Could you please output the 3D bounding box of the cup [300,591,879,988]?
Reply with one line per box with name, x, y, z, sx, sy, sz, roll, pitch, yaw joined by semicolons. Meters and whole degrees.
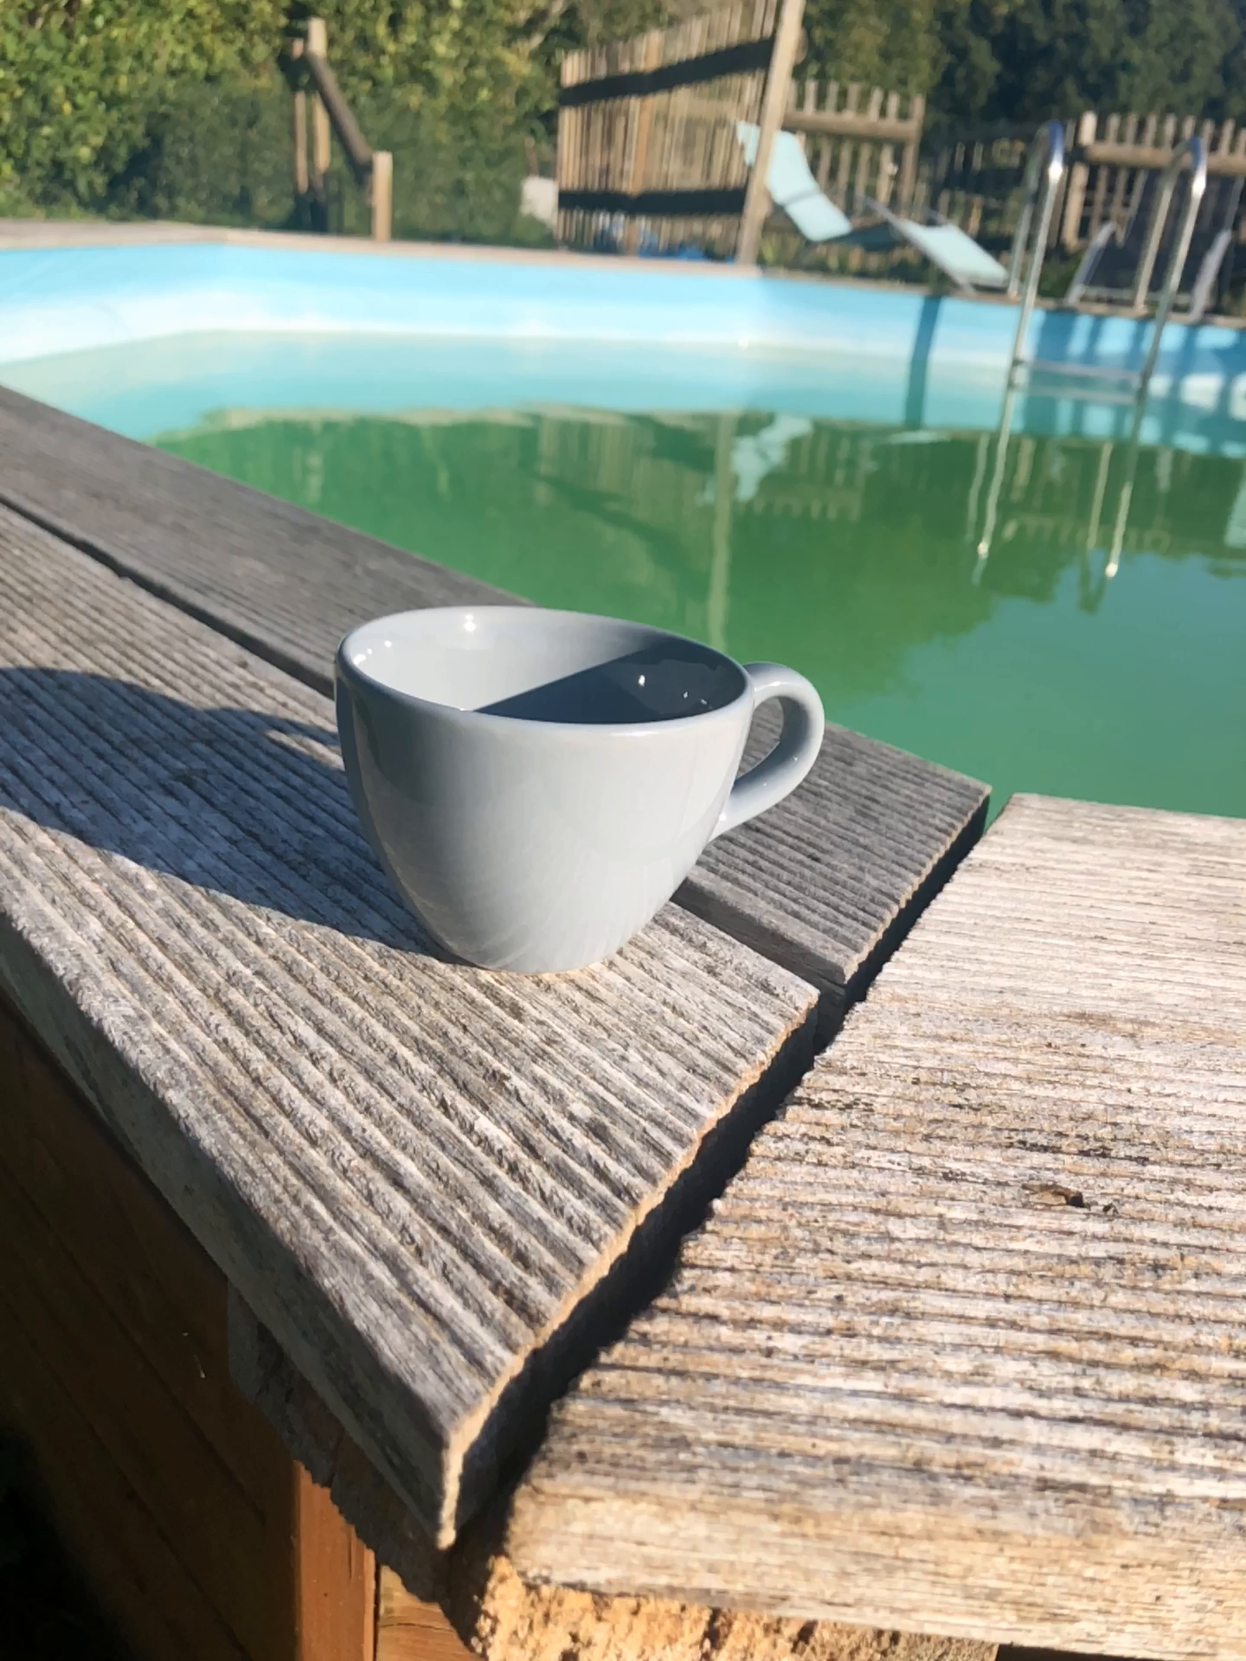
cup;-0.014;-0.013;0.297;0.105;0.052;0.091;0;24;-12
